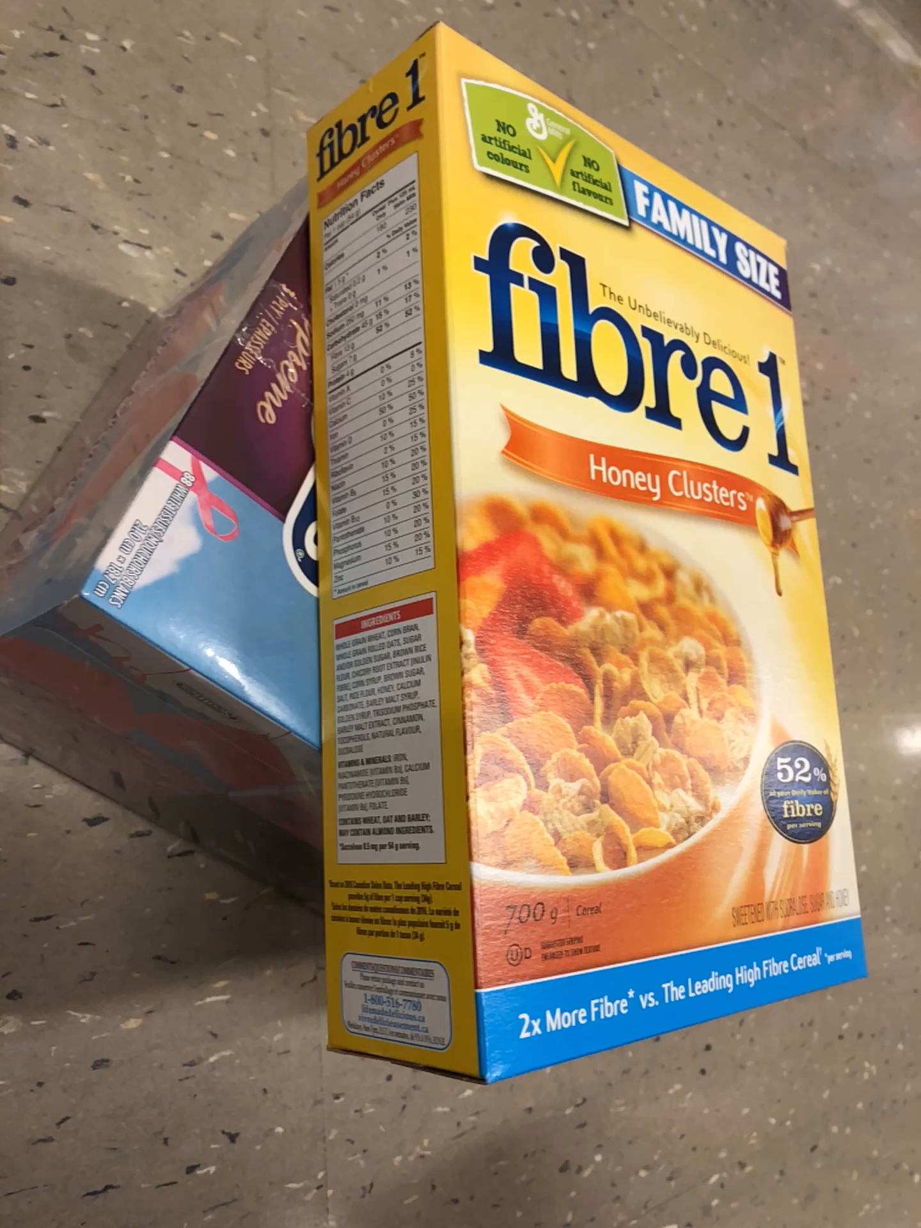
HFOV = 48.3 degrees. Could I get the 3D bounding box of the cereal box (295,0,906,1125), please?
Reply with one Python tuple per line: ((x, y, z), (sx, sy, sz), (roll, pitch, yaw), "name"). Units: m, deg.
((0.052, -0.018, 0.371), (0.201, 0.080, 0.320), (8, 73, -42), "cereal box")
